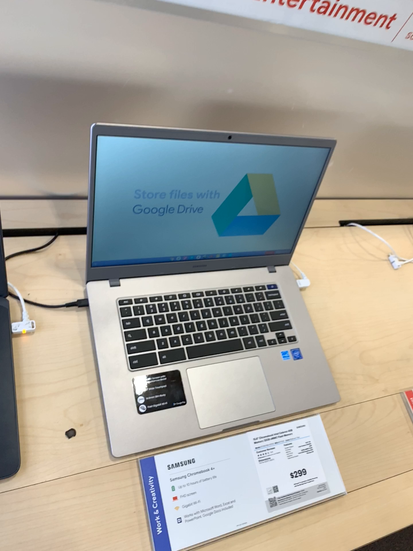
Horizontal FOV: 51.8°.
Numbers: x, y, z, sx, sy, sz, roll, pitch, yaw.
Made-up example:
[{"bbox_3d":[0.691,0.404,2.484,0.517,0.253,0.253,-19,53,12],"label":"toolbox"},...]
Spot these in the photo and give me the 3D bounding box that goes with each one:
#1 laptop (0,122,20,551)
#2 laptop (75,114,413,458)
[{"bbox_3d":[-0.366,0.056,0.386,0.321,0.193,0.294,-6,64,-25],"label":"laptop"},{"bbox_3d":[0.037,0.008,0.567,0.352,0.205,0.338,-5,65,-24],"label":"laptop"}]
